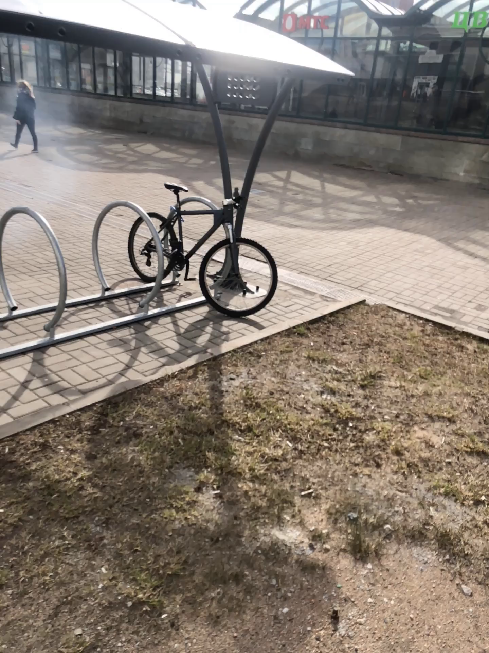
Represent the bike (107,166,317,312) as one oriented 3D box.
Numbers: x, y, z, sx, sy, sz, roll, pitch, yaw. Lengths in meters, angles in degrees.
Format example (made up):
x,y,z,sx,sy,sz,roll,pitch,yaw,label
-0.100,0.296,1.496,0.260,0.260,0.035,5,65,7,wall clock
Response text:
x,y,z,sx,sy,sz,roll,pitch,yaw,label
-0.344,-0.821,4.639,1.612,0.980,0.563,16,25,27,bike
